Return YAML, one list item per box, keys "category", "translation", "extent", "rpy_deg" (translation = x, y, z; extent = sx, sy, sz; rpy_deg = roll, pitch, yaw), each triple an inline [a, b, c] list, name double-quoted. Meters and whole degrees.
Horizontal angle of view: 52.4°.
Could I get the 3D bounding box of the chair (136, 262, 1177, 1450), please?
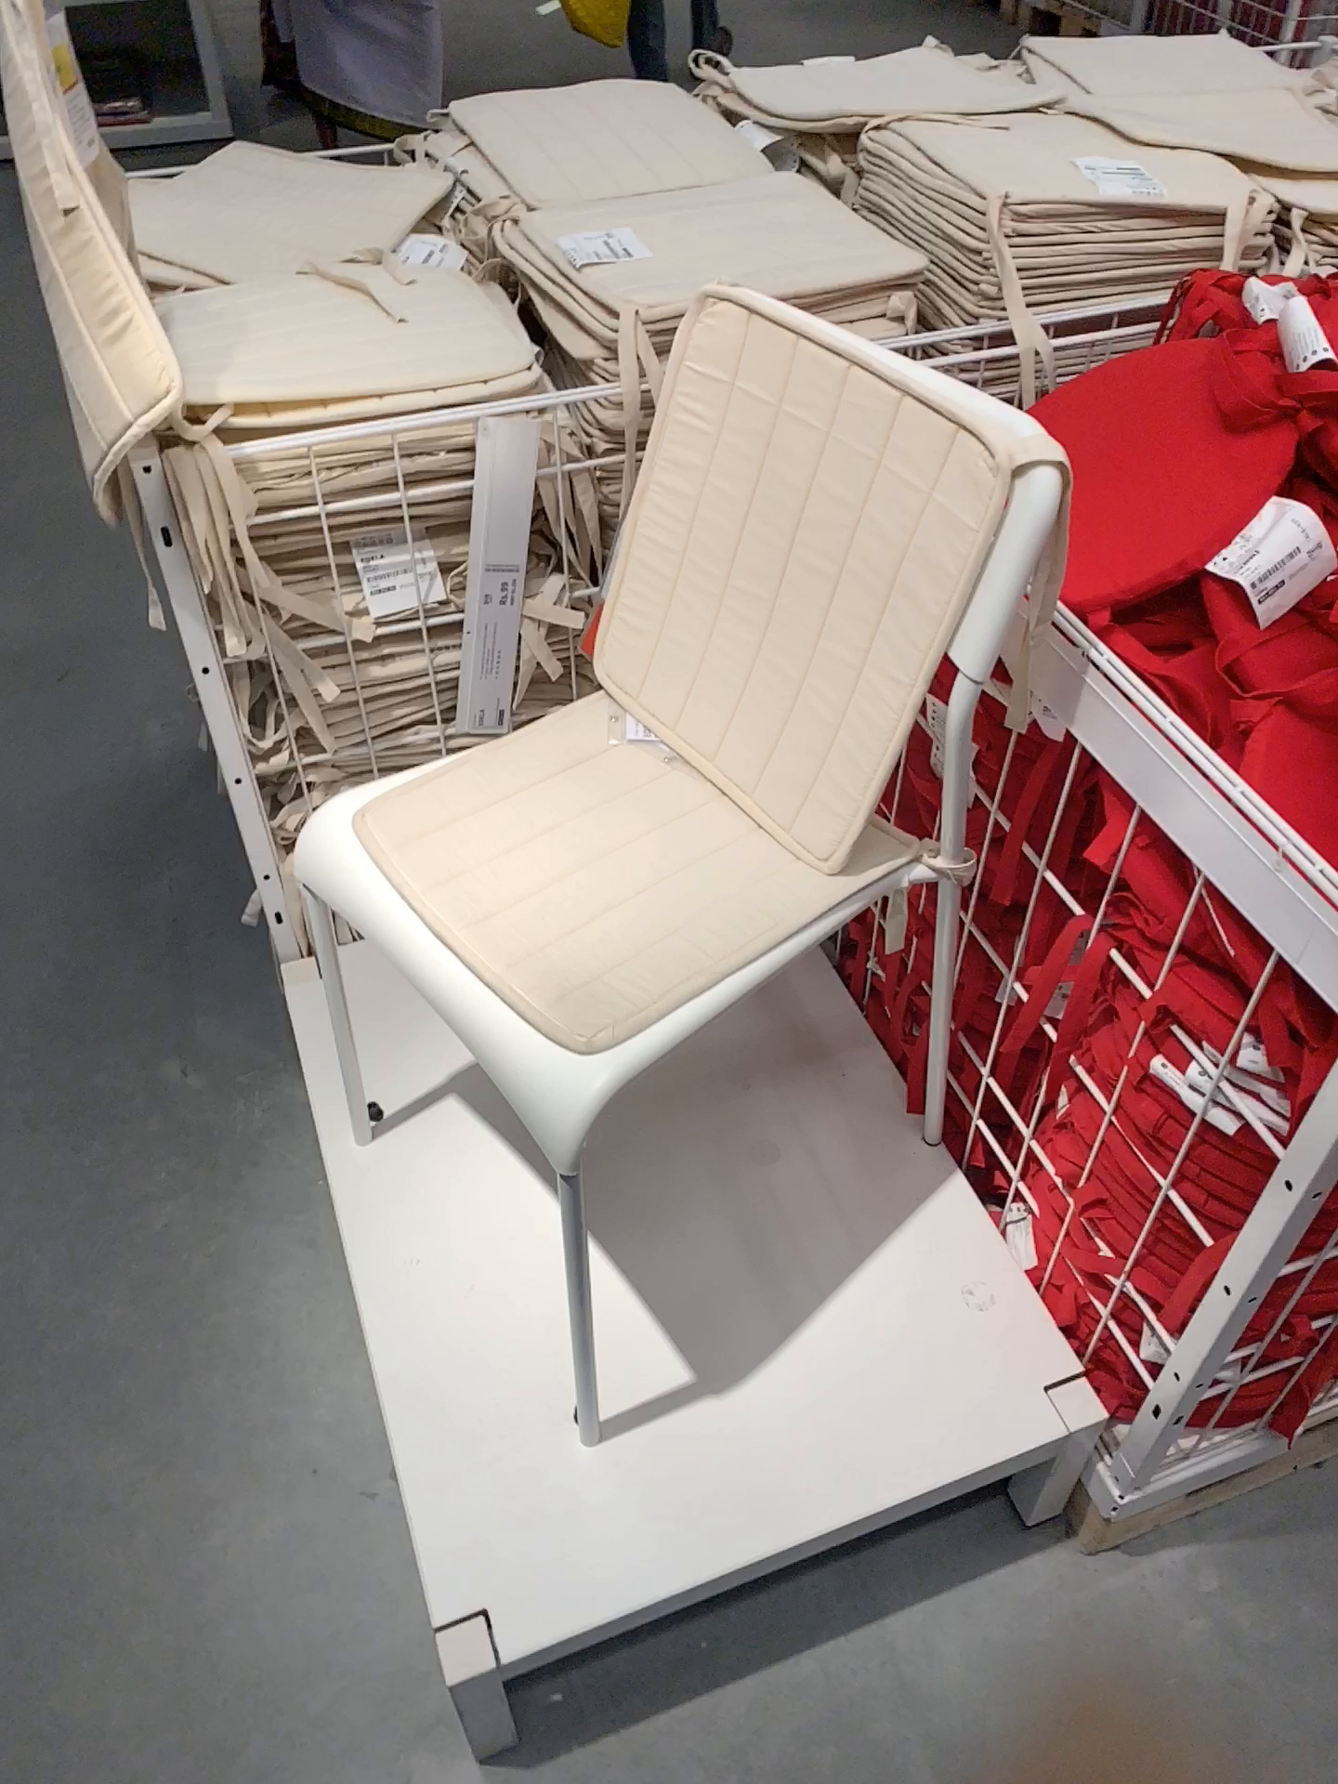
- category: "chair"
  translation: [-0.013, -0.023, 1.081]
  extent: [0.480, 0.697, 0.431]
  rpy_deg: [-29, 51, -27]
